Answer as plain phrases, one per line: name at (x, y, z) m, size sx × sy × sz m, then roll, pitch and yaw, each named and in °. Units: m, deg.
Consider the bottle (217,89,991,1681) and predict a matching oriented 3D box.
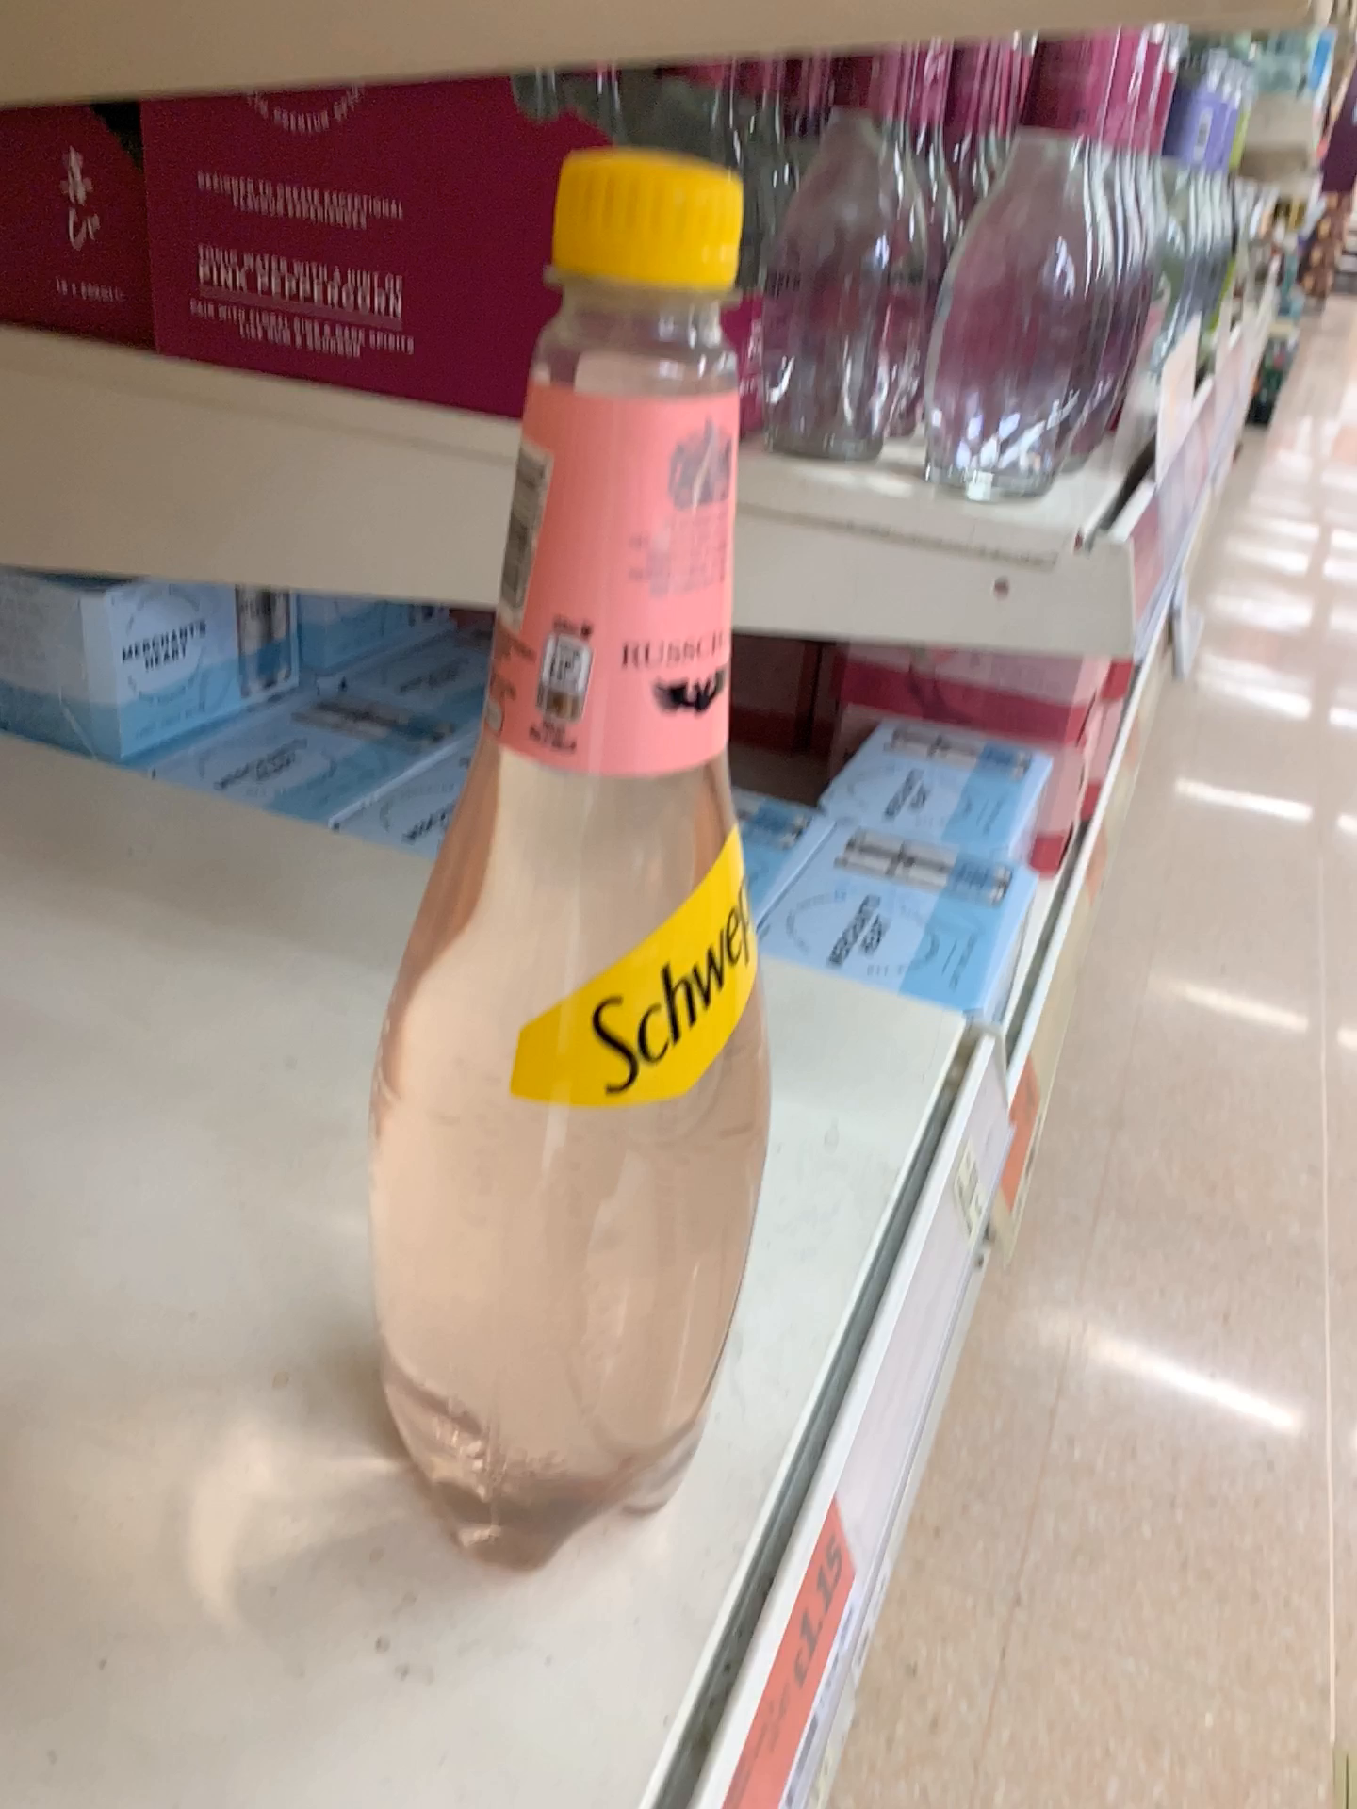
bottle at (-0.024, 0.011, 0.289) m, size 0.090 × 0.299 × 0.085 m, roll 6°, pitch 29°, yaw -3°
